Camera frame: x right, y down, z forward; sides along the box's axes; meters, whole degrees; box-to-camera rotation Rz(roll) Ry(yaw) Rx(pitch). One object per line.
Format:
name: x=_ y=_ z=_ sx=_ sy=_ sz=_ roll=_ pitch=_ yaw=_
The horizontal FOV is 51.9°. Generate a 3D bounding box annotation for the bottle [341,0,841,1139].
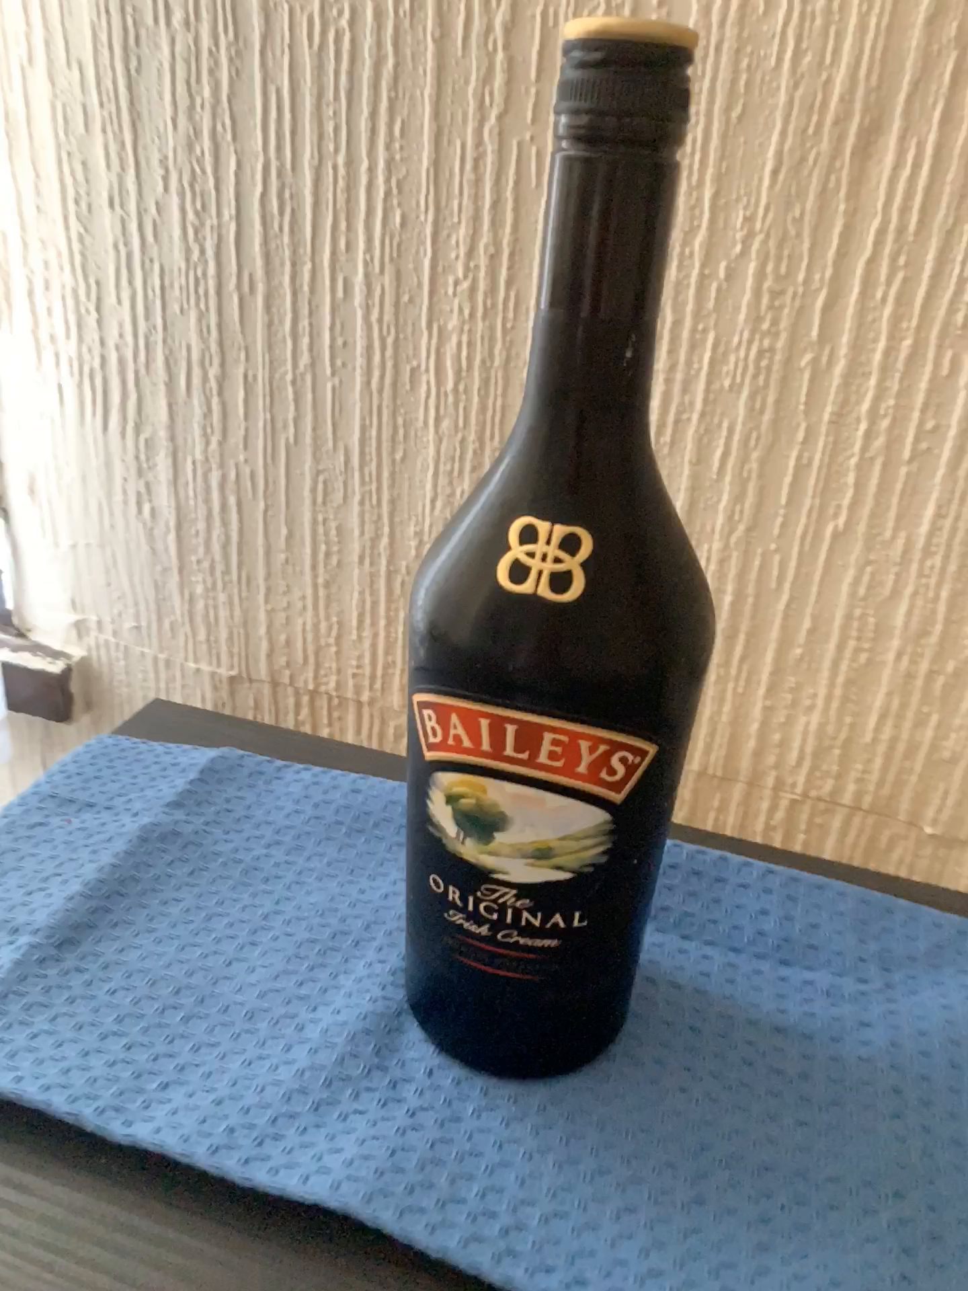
bottle: x=0.018 y=-0.005 z=0.274 sx=0.090 sy=0.287 sz=0.071 roll=11 pitch=27 yaw=13
